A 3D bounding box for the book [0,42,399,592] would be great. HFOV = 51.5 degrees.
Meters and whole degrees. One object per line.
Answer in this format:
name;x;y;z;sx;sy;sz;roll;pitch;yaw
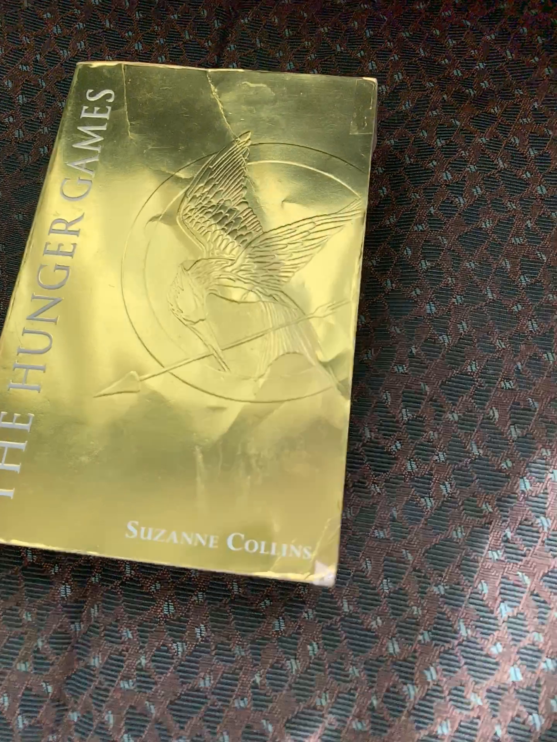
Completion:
book;-0.032;-0.030;0.227;0.142;0.037;0.201;6;73;3
